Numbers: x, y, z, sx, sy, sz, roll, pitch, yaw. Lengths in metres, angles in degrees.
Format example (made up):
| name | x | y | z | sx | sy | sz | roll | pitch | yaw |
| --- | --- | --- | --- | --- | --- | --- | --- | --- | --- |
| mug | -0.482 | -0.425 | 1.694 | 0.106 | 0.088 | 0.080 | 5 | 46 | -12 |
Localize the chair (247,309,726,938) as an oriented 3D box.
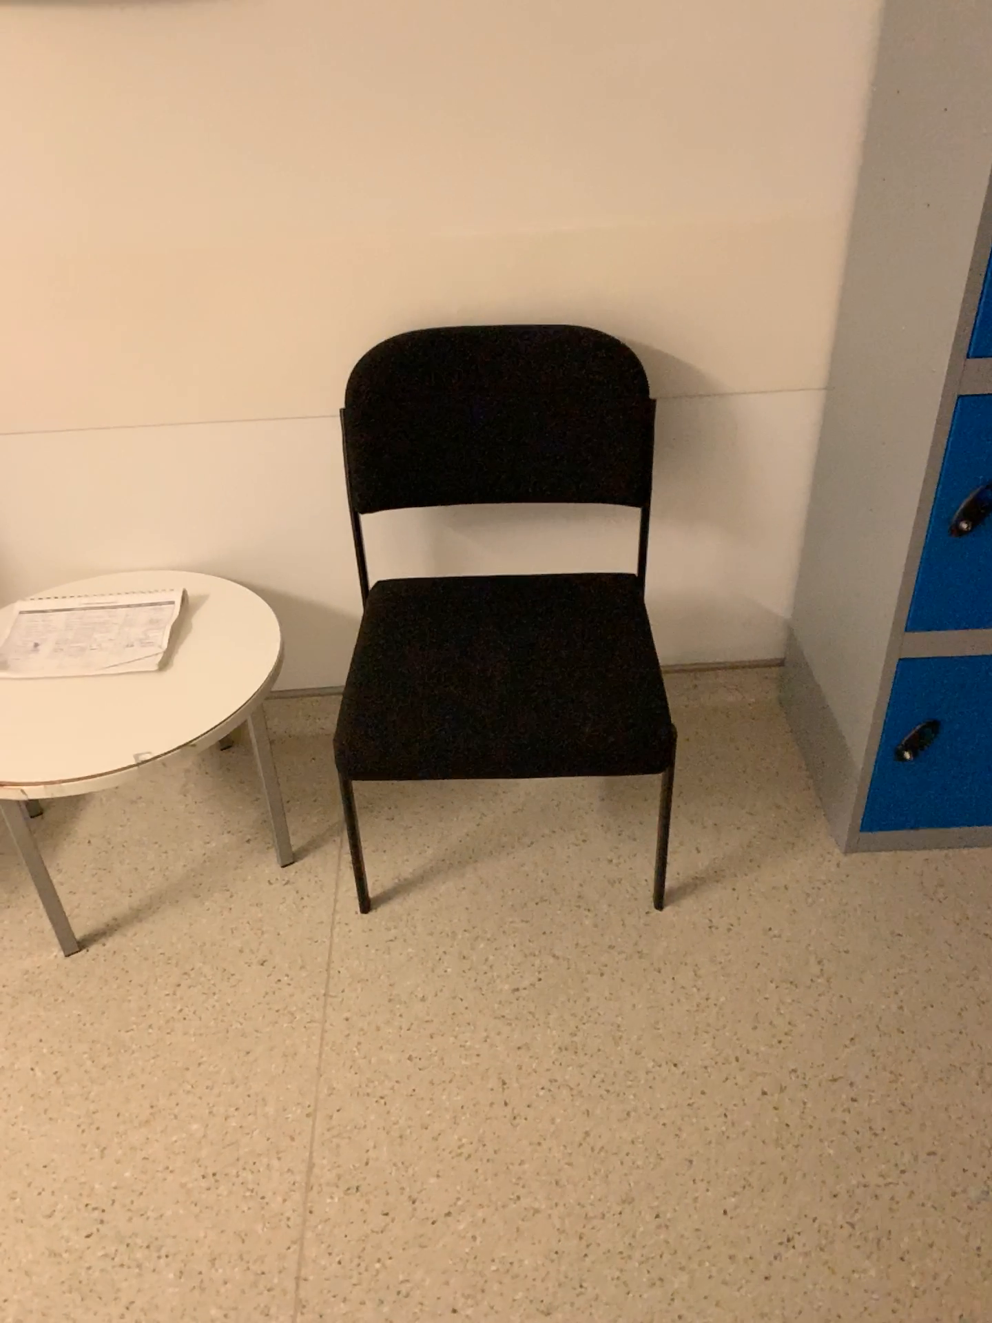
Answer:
| name | x | y | z | sx | sy | sz | roll | pitch | yaw |
| --- | --- | --- | --- | --- | --- | --- | --- | --- | --- |
| chair | 0.010 | -0.057 | 1.618 | 0.550 | 0.823 | 0.555 | 0 | 35 | 3 |
